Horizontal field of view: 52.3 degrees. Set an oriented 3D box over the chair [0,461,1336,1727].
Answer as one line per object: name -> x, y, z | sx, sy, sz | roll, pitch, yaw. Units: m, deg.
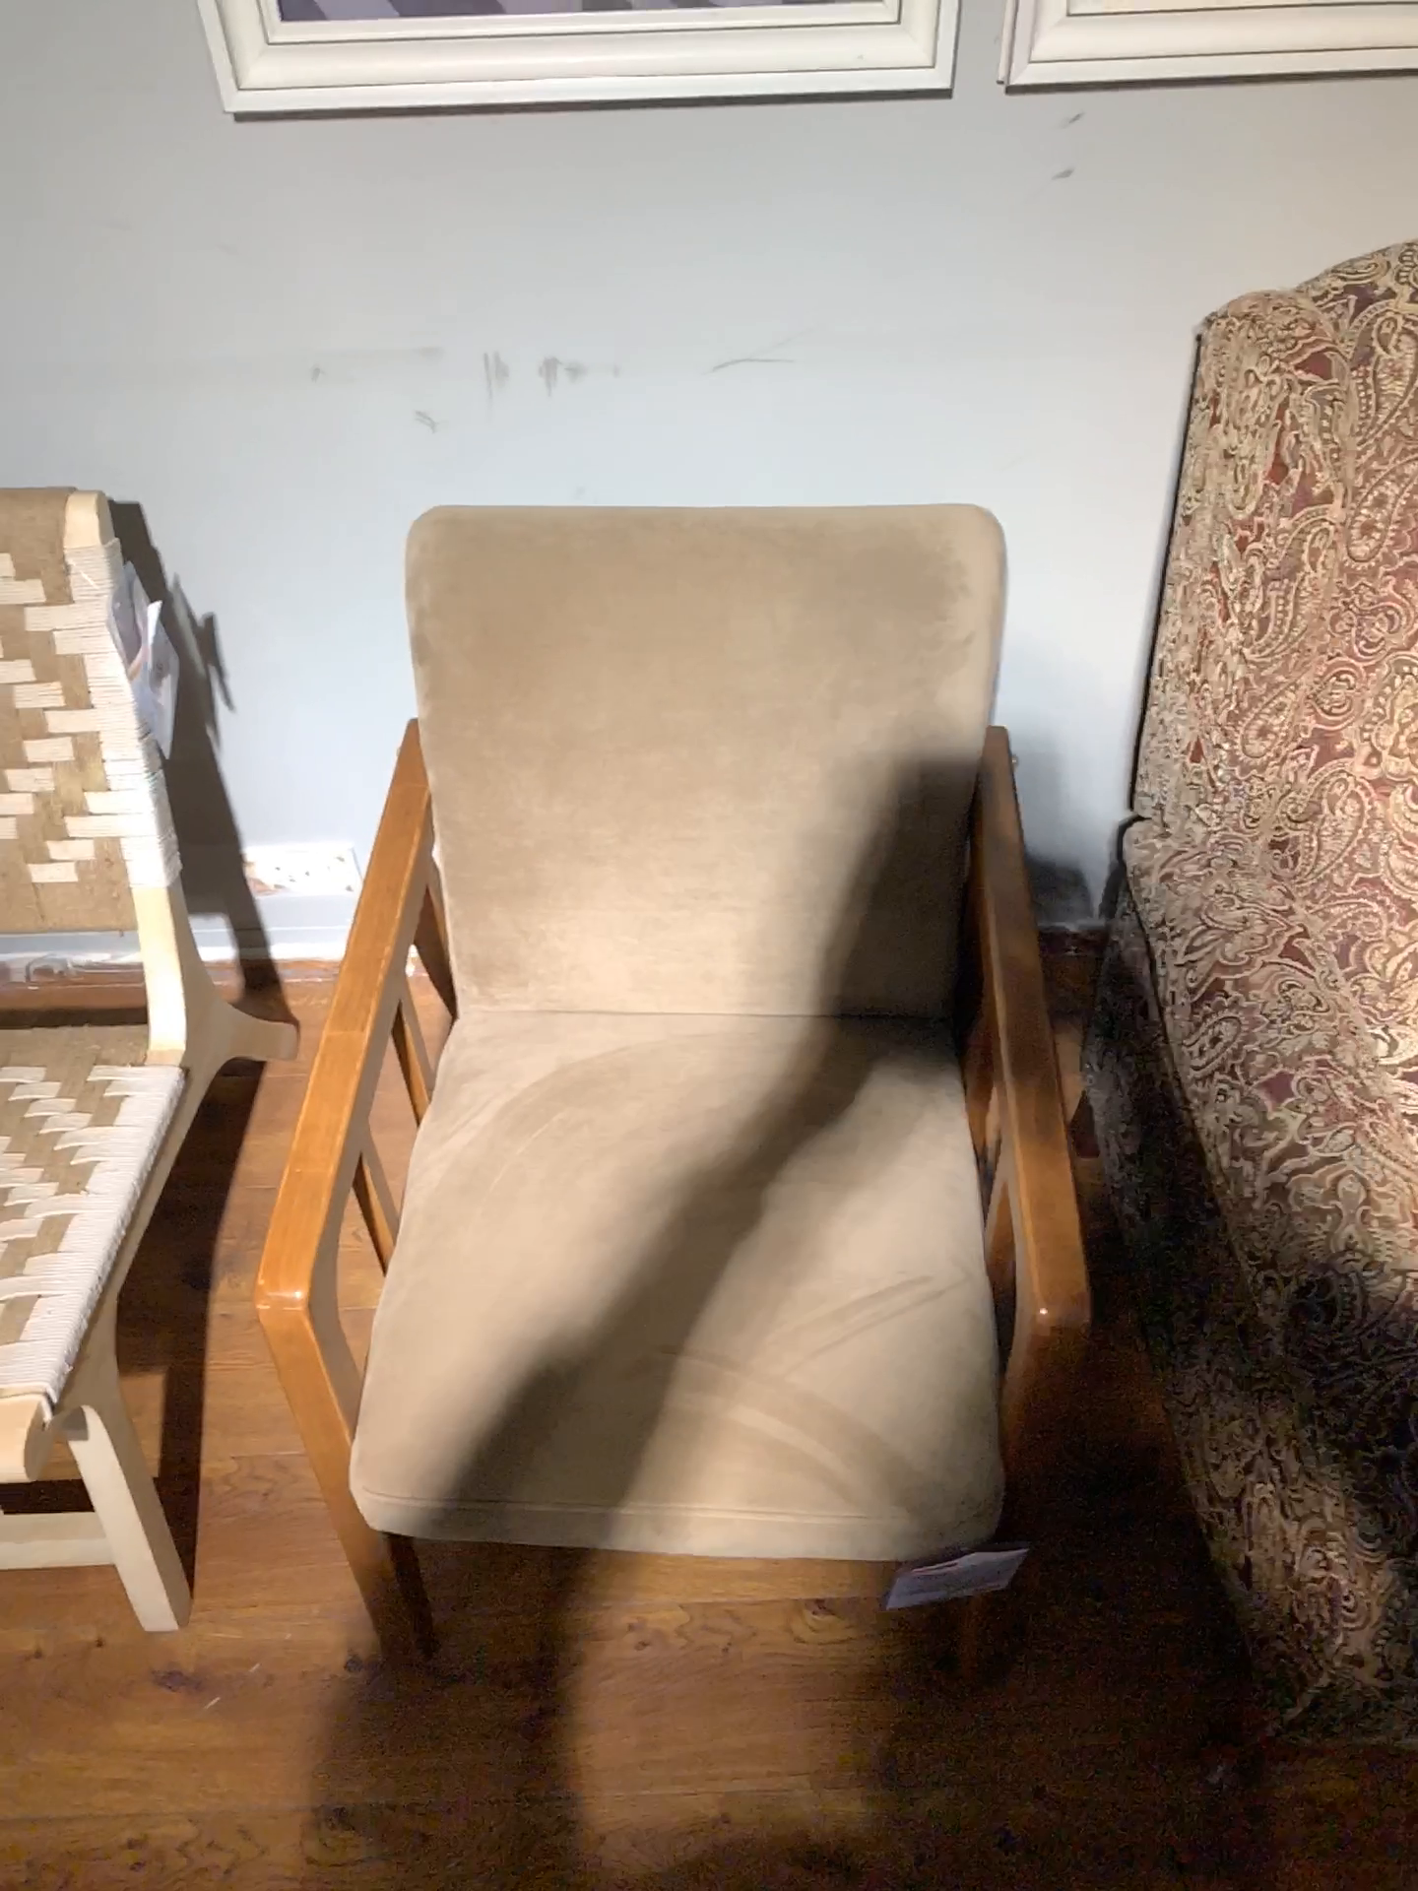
chair -> -0.025, 0.127, 1.314 | 0.720, 0.738, 0.872 | 0, 48, 1
